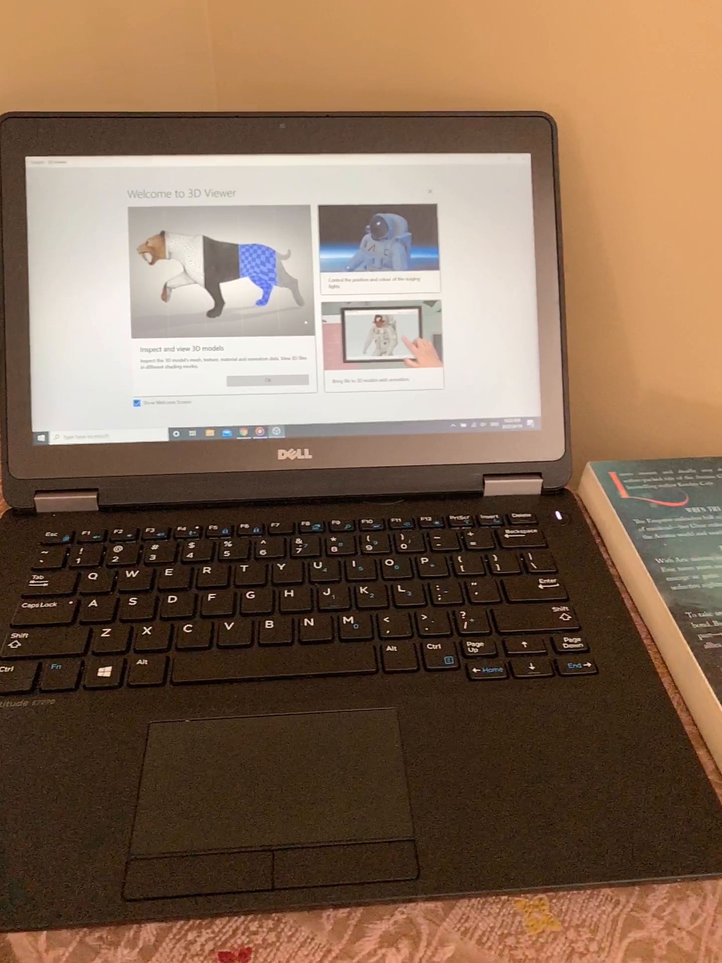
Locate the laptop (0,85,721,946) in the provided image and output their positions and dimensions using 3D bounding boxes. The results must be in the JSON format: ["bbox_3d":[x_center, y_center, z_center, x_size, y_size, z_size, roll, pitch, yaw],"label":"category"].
[{"bbox_3d":[-0.037,-0.049,0.398,0.365,0.186,0.424,-3,41,-4],"label":"laptop"}]
